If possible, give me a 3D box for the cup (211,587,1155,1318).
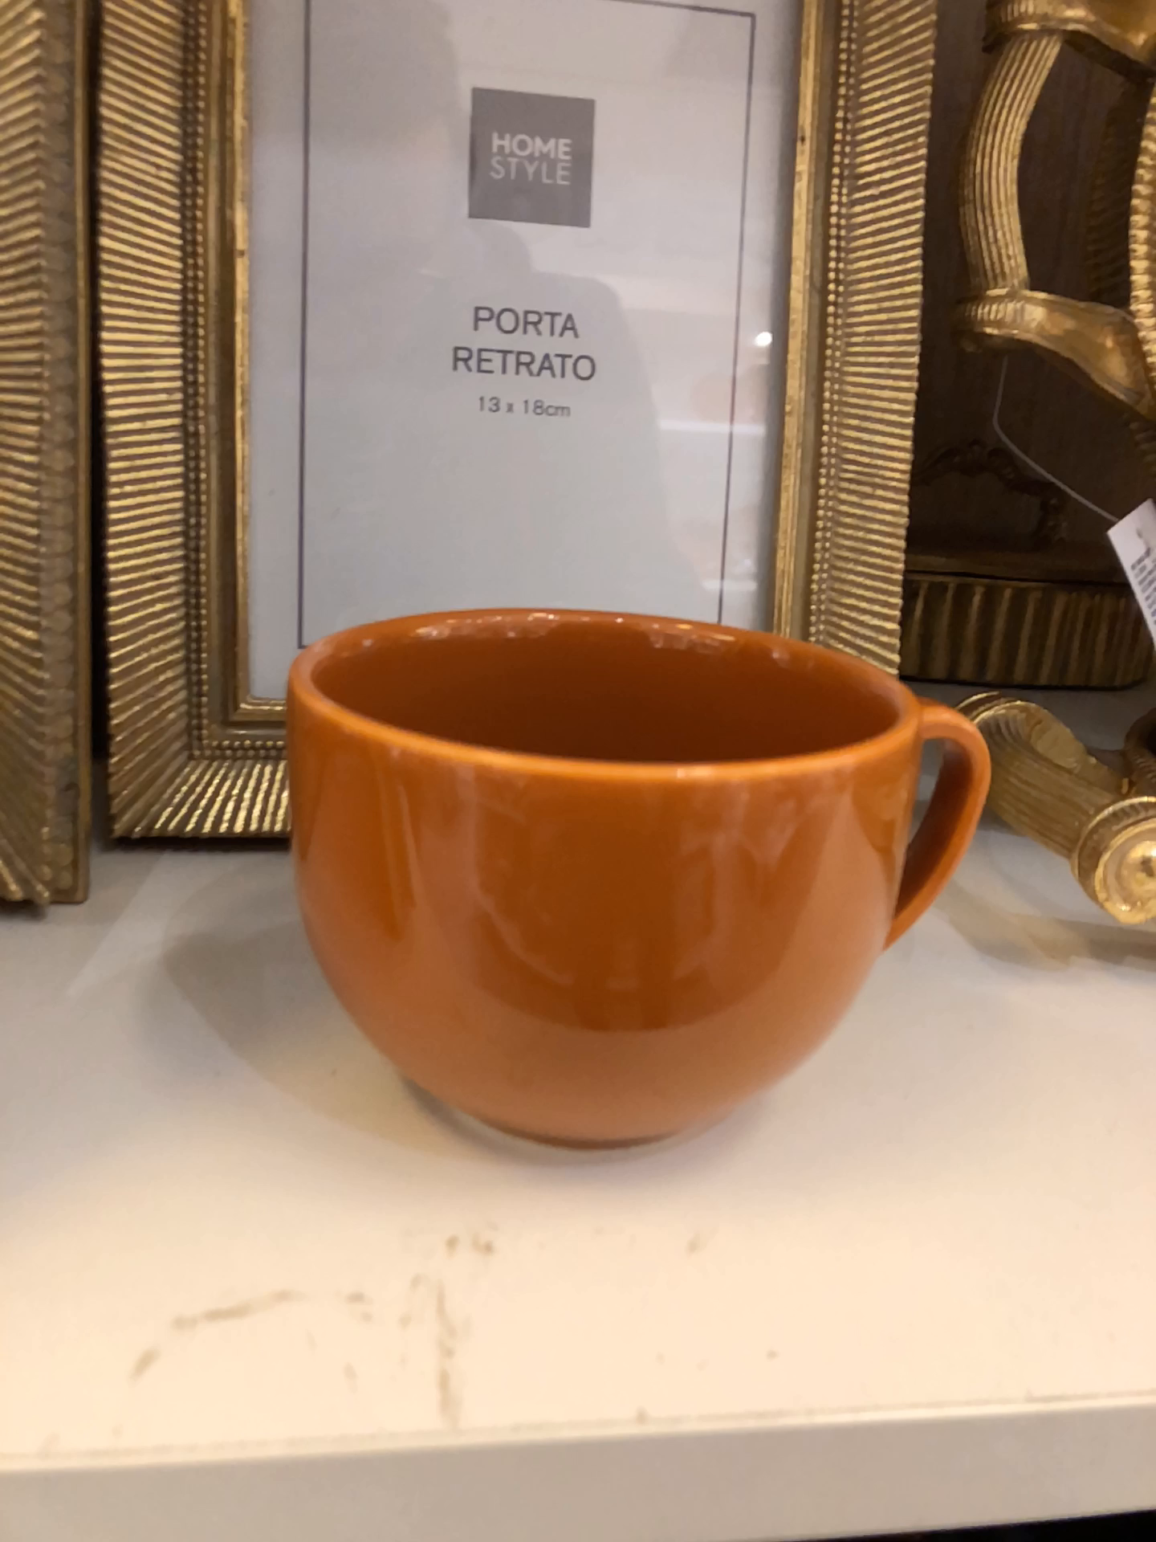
[{"bbox_3d":[0.013,0.013,0.194,0.120,0.060,0.090,-5,21,-22],"label":"cup"}]
